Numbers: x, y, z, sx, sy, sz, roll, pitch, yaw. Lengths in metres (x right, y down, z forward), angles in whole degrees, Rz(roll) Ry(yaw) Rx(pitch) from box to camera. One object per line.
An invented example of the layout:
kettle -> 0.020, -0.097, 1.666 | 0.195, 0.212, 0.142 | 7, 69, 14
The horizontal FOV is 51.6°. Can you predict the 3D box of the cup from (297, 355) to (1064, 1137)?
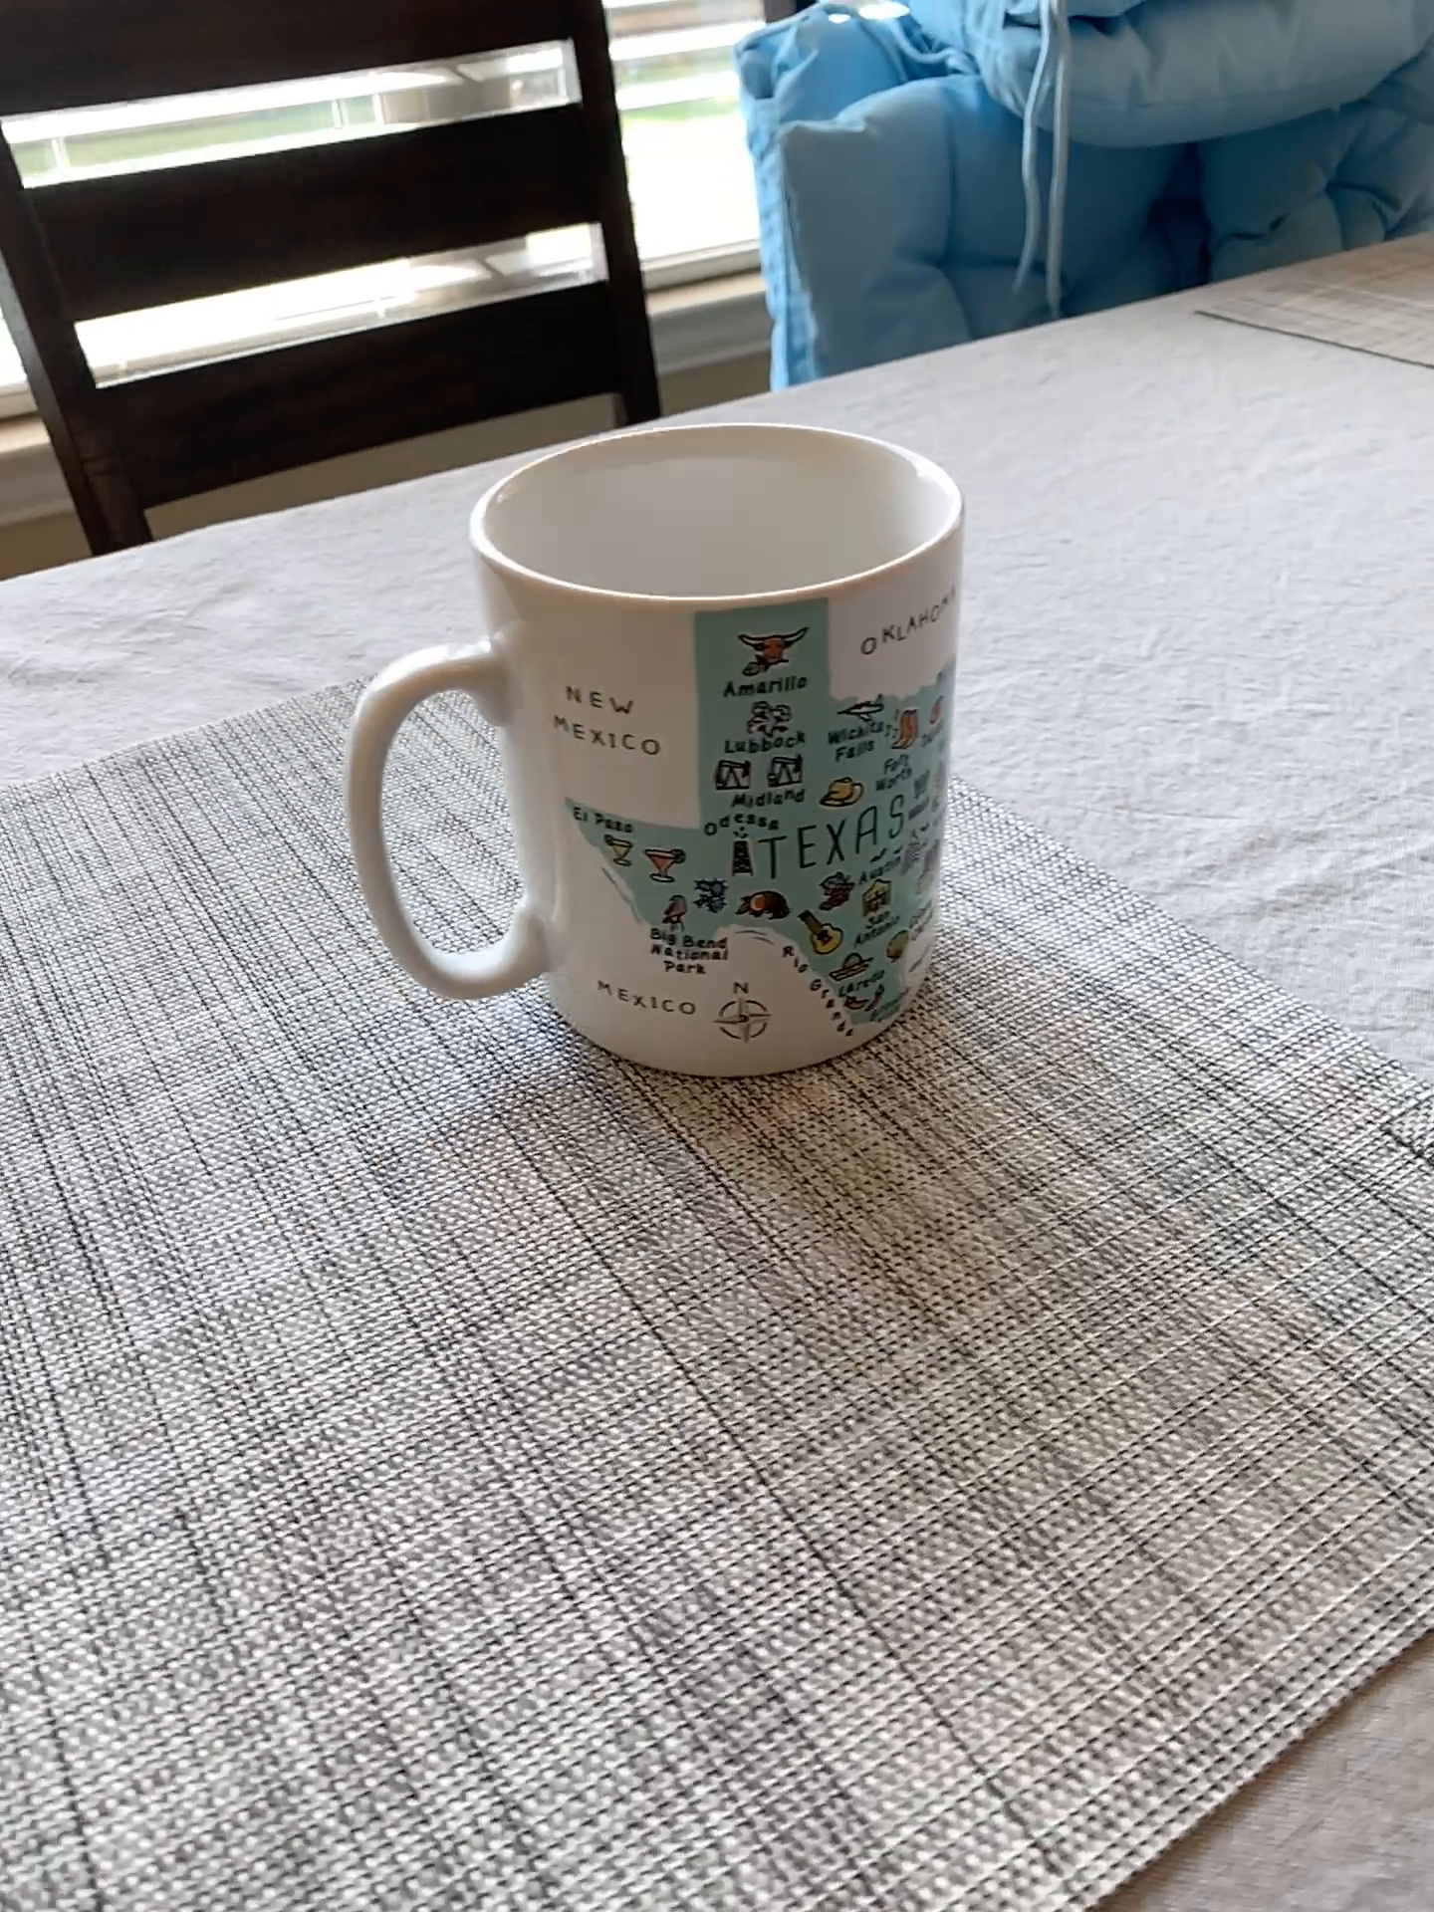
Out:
cup -> -0.013, -0.056, 0.369 | 0.150, 0.136, 0.112 | -10, 37, -8
